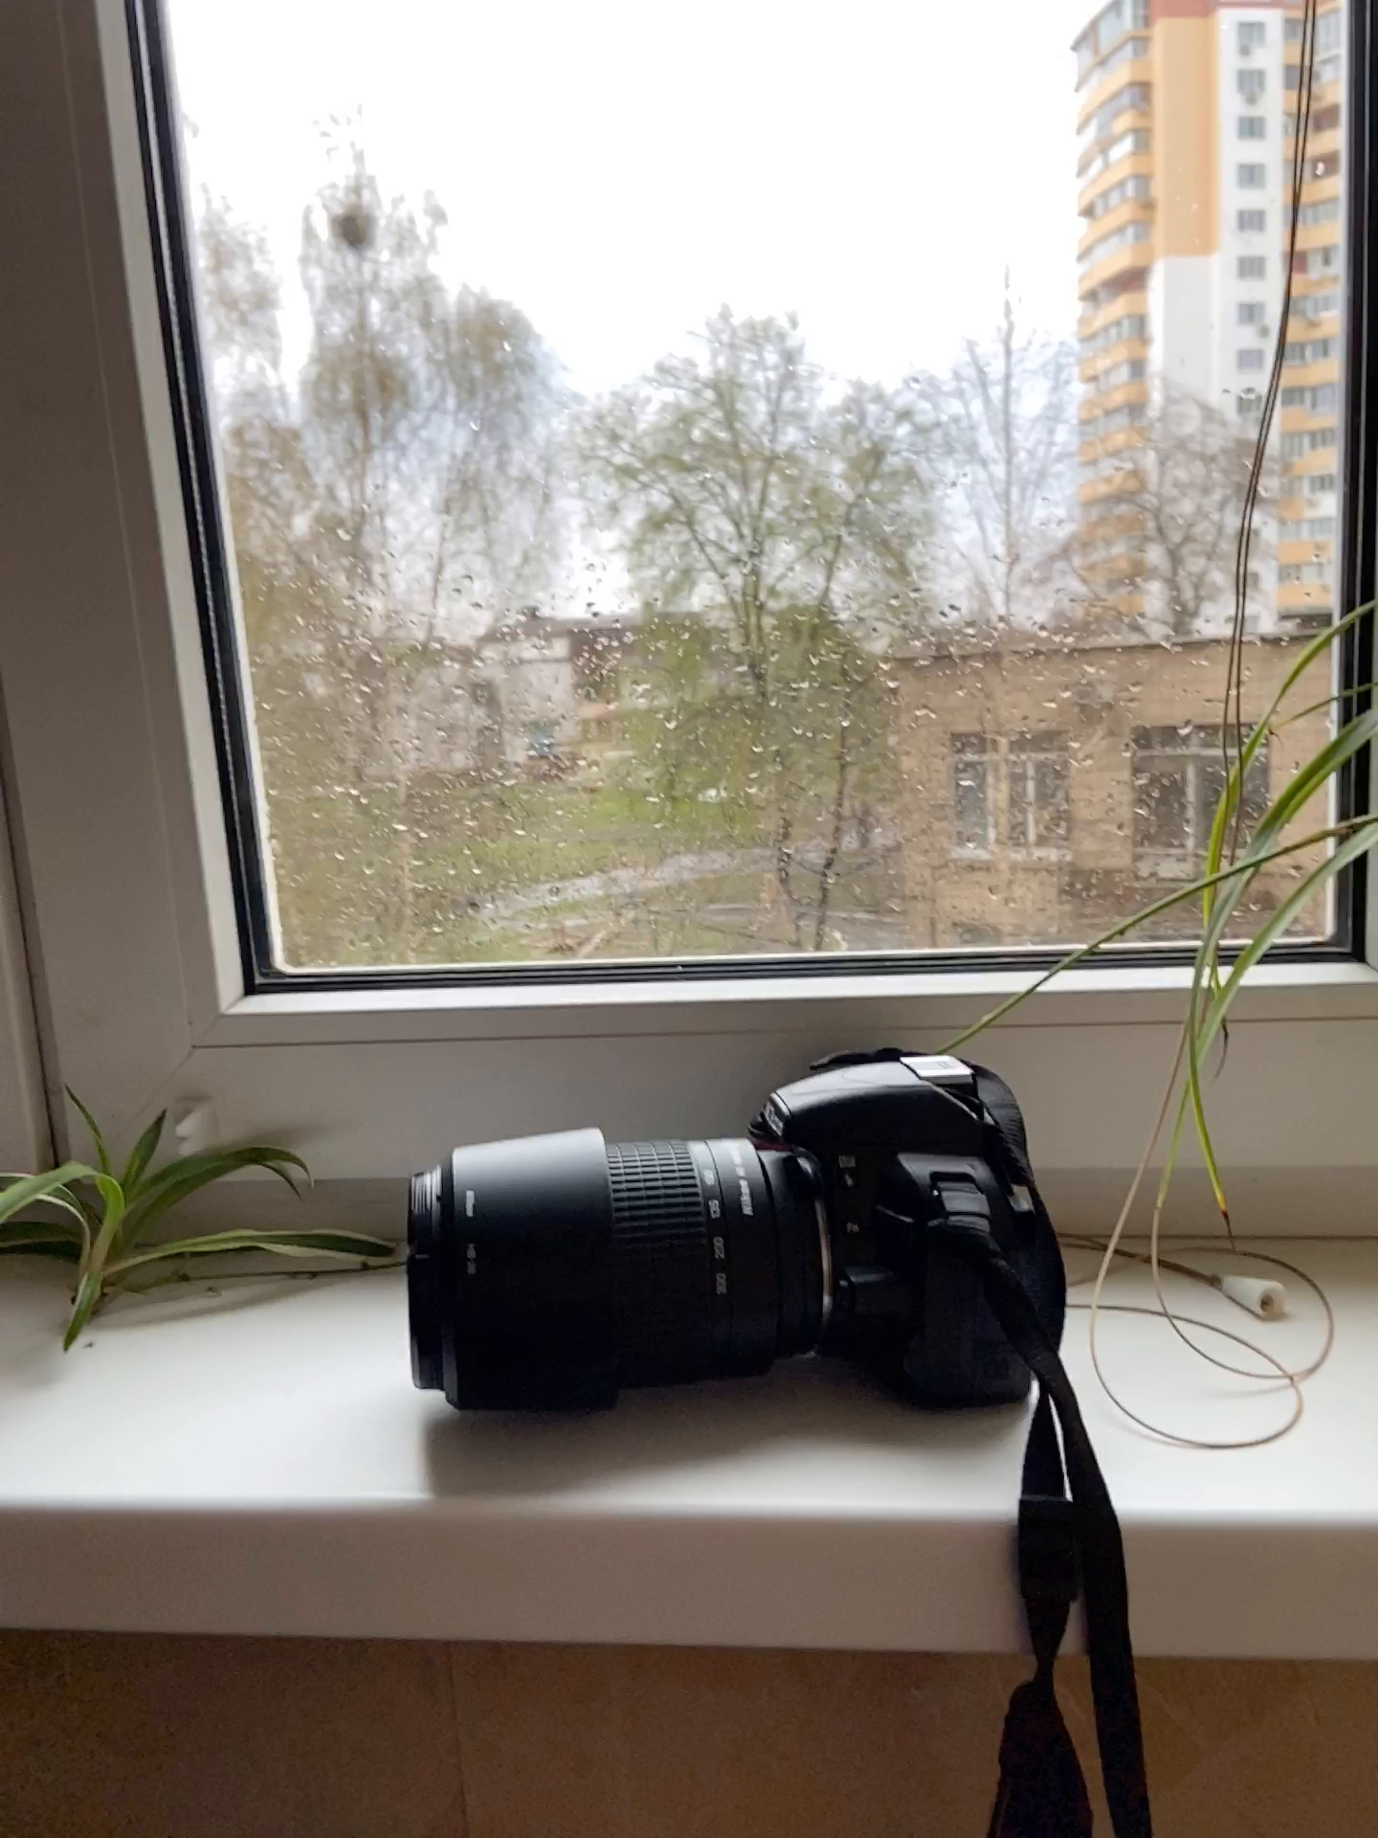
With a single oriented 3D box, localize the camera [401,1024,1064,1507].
[{"bbox_3d":[0.007,0.102,0.464,0.190,0.089,0.125,-5,10,-10],"label":"camera"}]
